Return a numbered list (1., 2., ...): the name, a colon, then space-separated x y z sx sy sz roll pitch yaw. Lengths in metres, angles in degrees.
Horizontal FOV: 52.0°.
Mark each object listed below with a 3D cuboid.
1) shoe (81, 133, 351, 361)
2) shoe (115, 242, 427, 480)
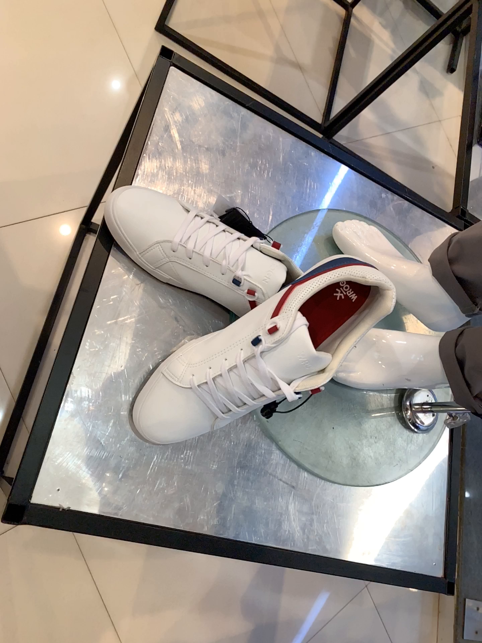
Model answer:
1. shoe: -0.028 -0.070 0.567 0.280 0.100 0.100 32 72 -15
2. shoe: 0.026 0.028 0.495 0.281 0.100 0.100 -26 99 -12
